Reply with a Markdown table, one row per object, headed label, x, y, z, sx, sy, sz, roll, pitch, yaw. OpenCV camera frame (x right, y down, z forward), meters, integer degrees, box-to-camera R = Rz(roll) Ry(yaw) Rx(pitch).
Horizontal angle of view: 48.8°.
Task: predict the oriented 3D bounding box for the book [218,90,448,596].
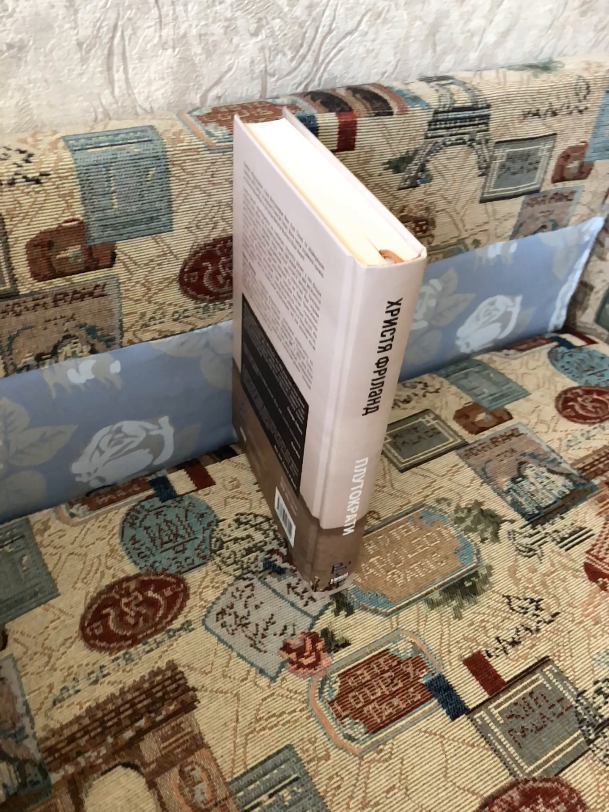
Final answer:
| label | x | y | z | sx | sy | sz | roll | pitch | yaw |
| --- | --- | --- | --- | --- | --- | --- | --- | --- | --- |
| book | -0.004 | -0.031 | 0.374 | 0.040 | 0.218 | 0.171 | -12 | 45 | -18 |
